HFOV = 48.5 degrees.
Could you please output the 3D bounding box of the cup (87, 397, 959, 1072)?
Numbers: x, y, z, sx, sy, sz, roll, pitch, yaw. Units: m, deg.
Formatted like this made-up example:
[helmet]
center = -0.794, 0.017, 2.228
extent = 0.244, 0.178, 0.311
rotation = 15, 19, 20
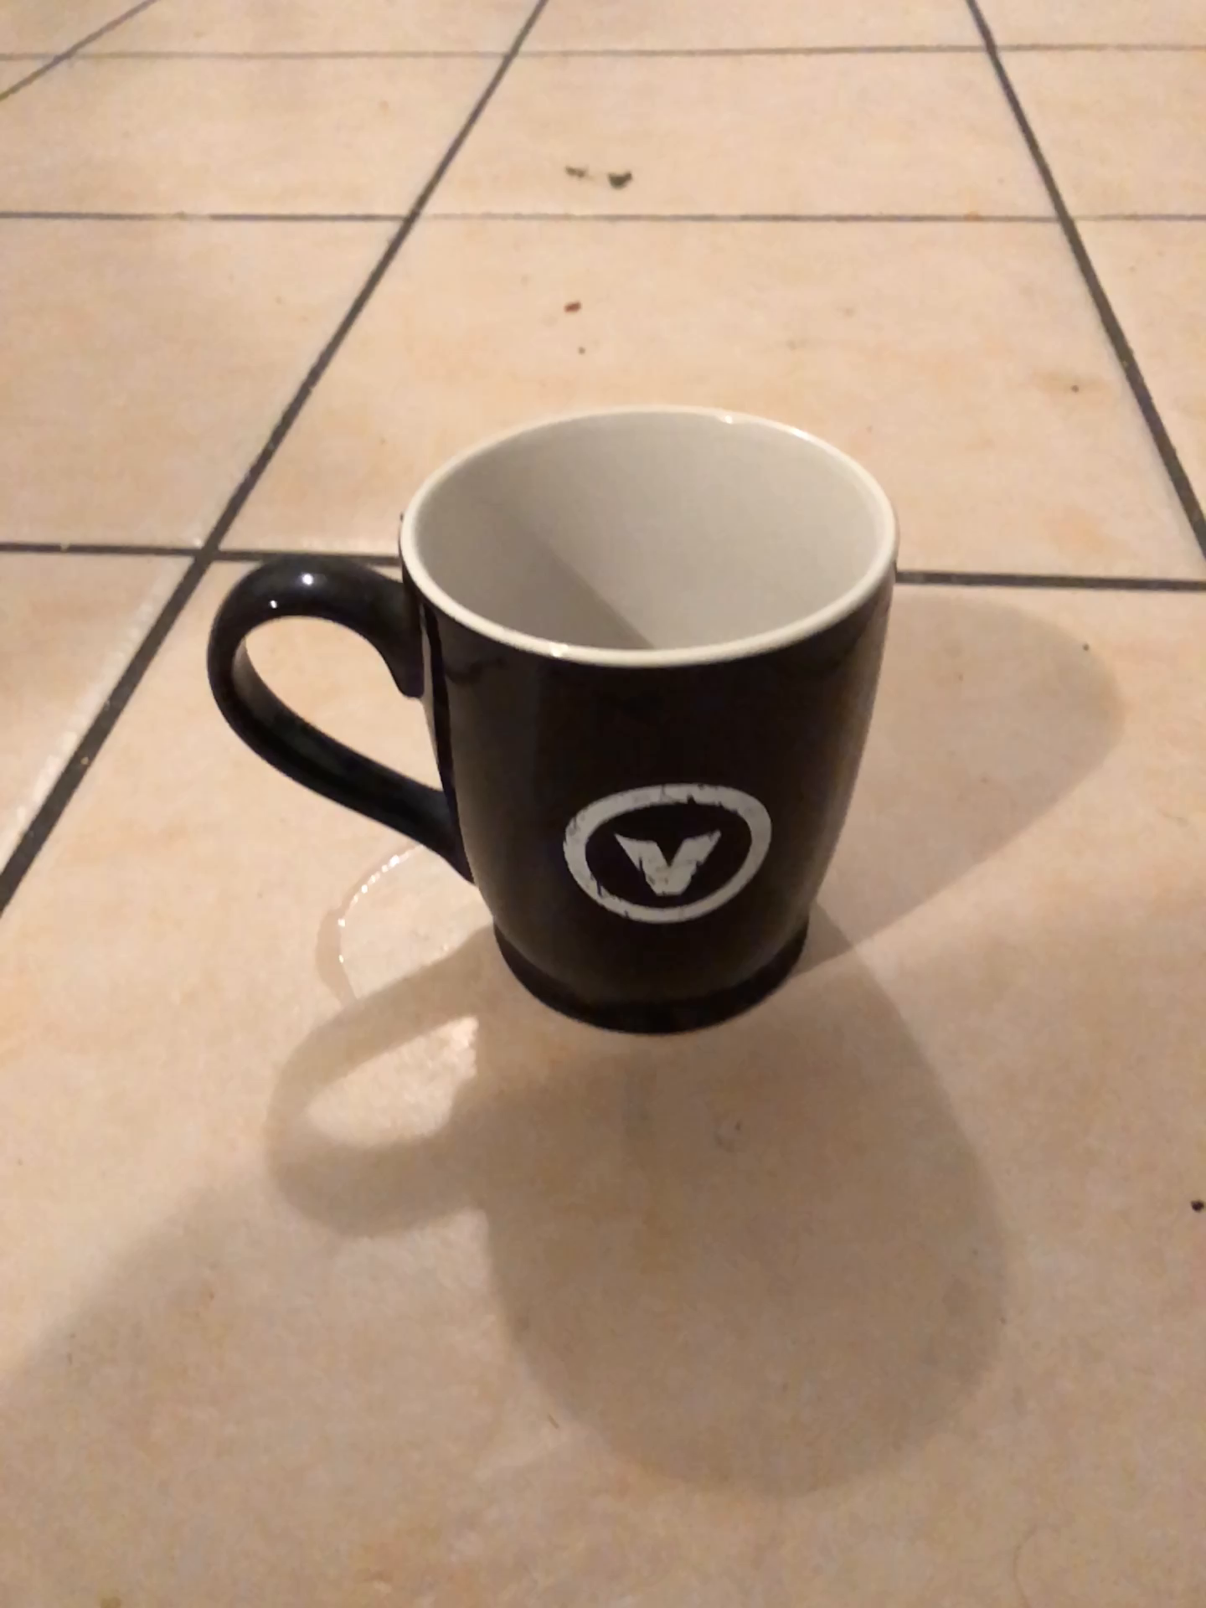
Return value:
[cup]
center = -0.011, -0.015, 0.285
extent = 0.140, 0.100, 0.101
rotation = -1, 41, 2
